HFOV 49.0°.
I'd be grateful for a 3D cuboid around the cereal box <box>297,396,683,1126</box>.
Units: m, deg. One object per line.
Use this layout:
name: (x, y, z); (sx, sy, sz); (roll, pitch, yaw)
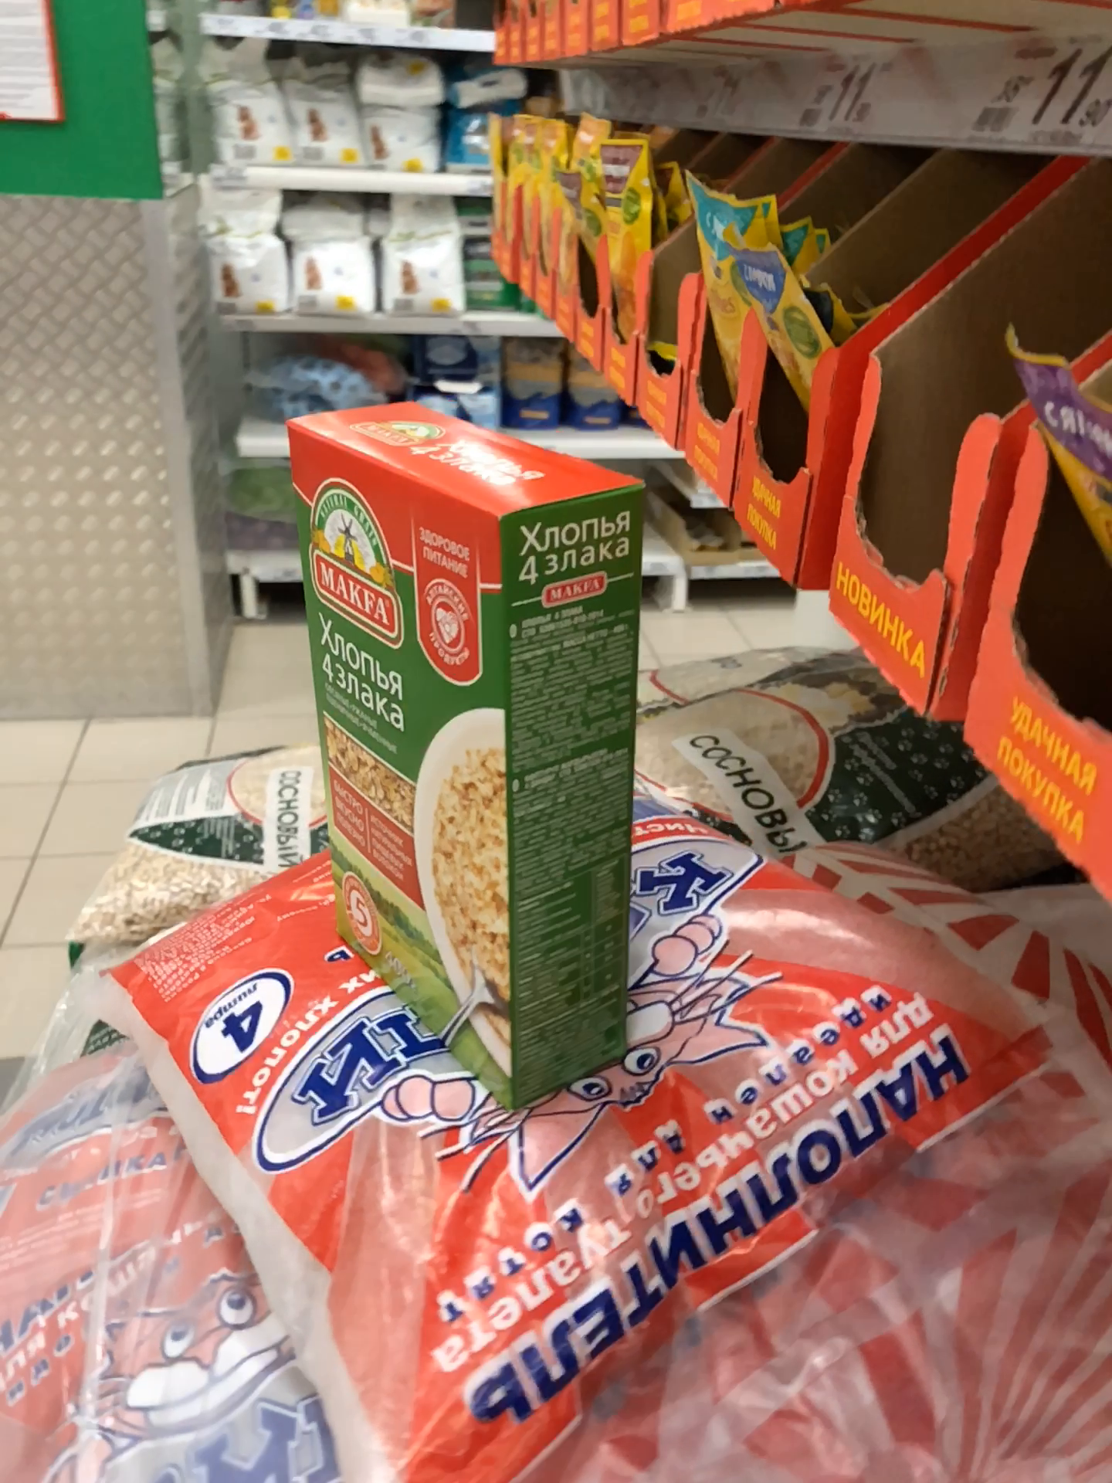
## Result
cereal box: (-0.027, 0.001, 0.422); (0.050, 0.209, 0.140); (-18, 31, -32)
